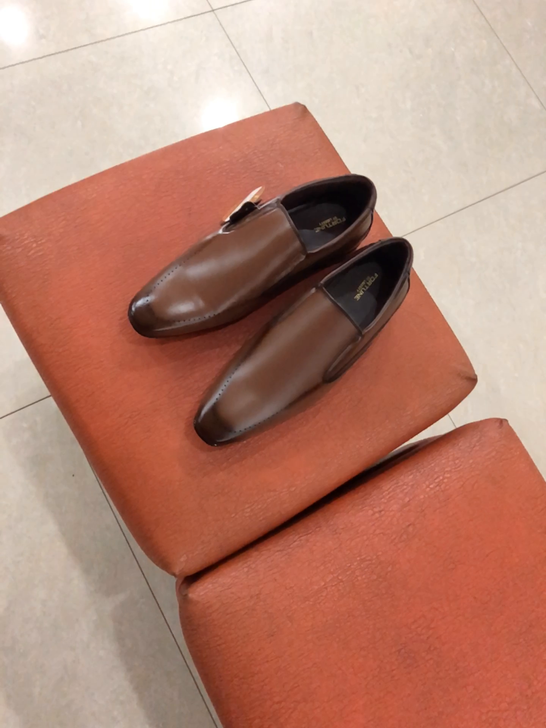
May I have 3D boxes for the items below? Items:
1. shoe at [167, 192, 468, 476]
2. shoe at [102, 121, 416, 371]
[{"bbox_3d":[0.043,-0.031,0.602,0.295,0.108,0.101,-41,87,-19],"label":"shoe"},{"bbox_3d":[-0.016,-0.121,0.625,0.293,0.128,0.099,-30,83,-18],"label":"shoe"}]
